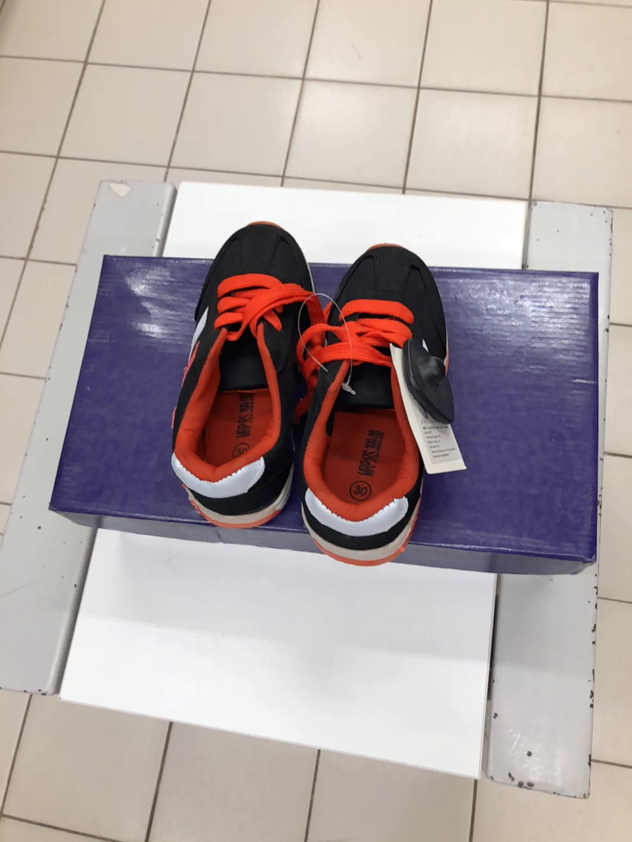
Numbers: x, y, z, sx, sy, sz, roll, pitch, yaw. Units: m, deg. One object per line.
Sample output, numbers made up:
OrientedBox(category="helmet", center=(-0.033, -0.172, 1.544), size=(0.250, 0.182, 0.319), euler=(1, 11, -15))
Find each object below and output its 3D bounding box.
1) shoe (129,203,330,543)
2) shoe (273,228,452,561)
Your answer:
OrientedBox(category="shoe", center=(-0.043, -0.025, 0.430), size=(0.080, 0.100, 0.180), euler=(4, 74, 6))
OrientedBox(category="shoe", center=(0.031, -0.011, 0.417), size=(0.080, 0.100, 0.170), euler=(4, 74, 6))
